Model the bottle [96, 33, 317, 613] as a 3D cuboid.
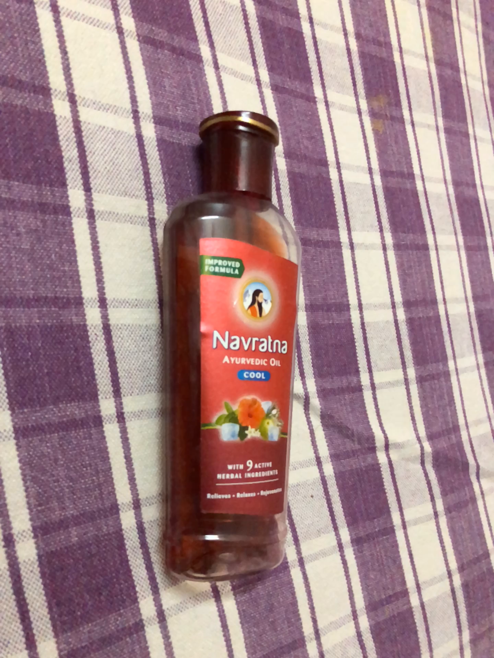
[{"bbox_3d":[-0.015,-0.003,0.228,0.070,0.050,0.200,5,83,-35],"label":"bottle"}]
